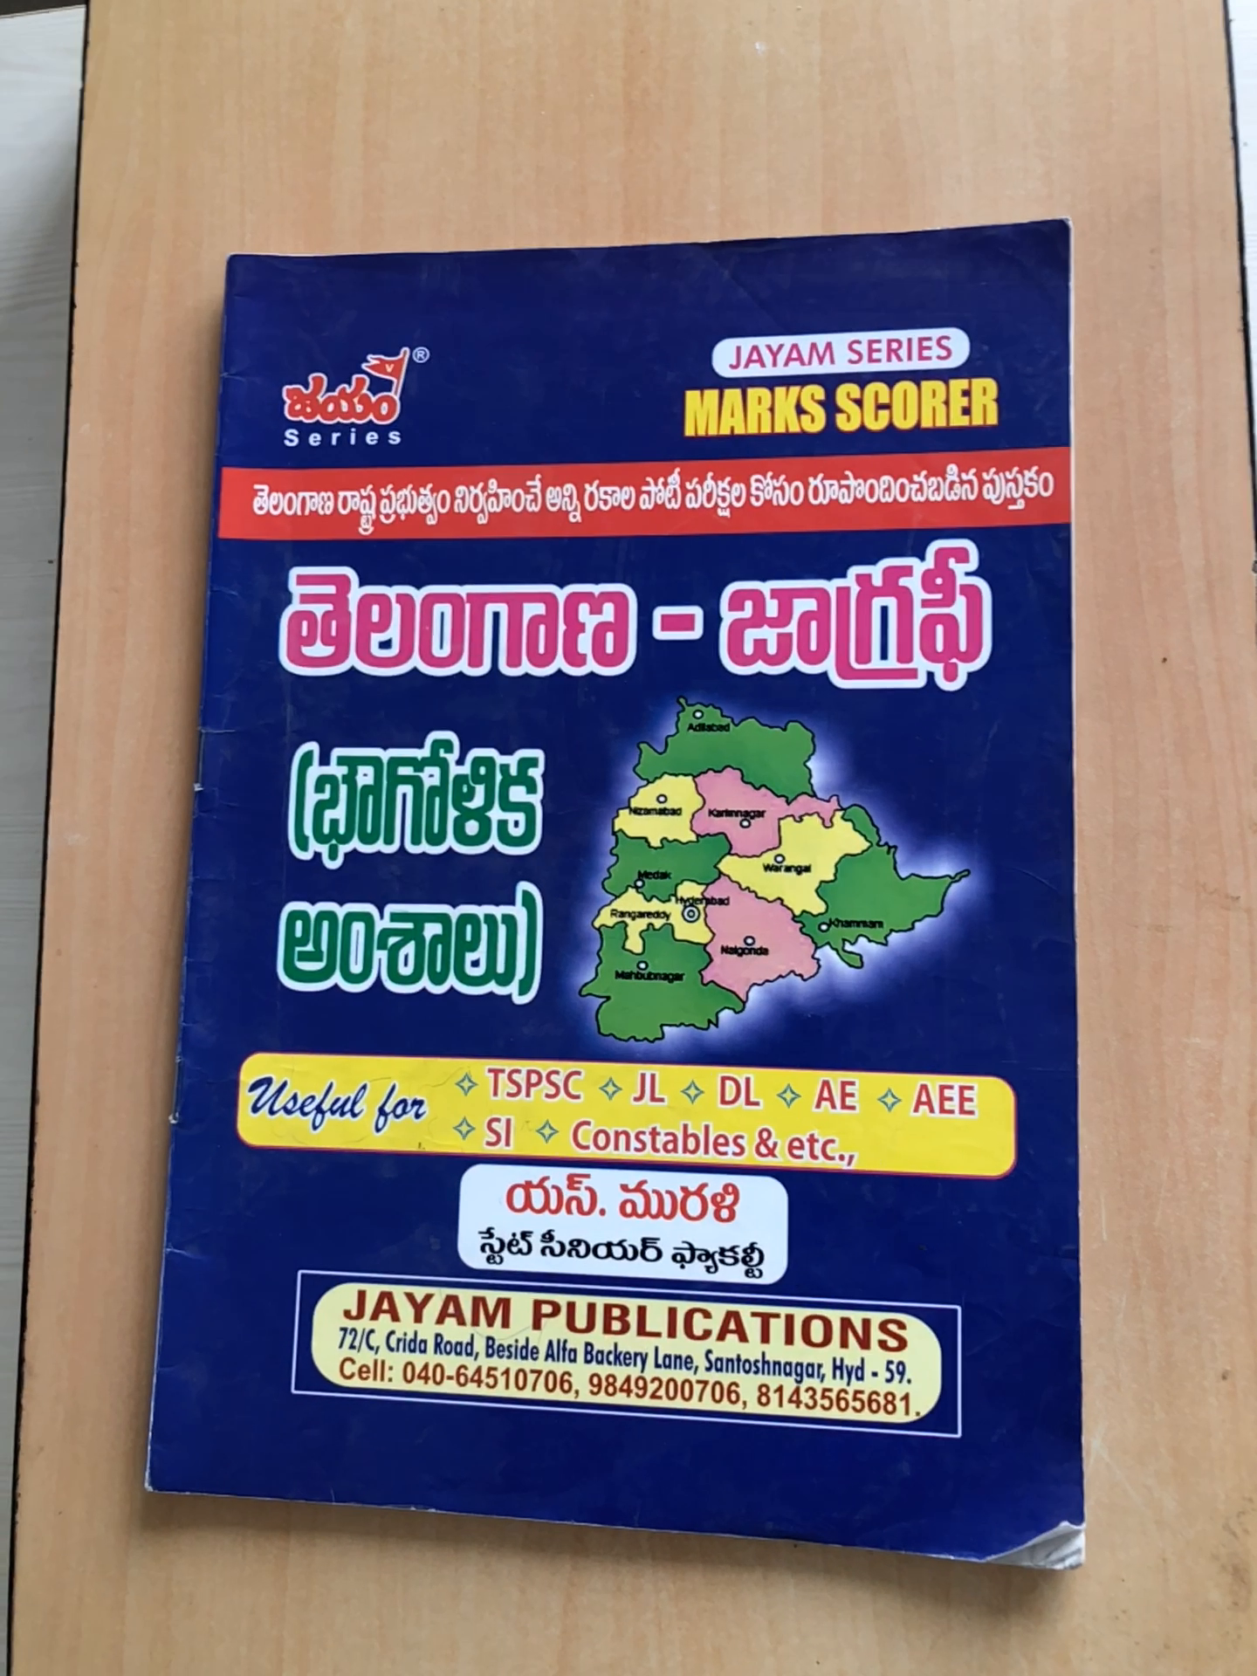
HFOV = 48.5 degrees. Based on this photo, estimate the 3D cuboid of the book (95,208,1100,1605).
[{"bbox_3d":[-0.003,0.005,0.312,0.200,0.040,0.280,1,83,8],"label":"book"}]
